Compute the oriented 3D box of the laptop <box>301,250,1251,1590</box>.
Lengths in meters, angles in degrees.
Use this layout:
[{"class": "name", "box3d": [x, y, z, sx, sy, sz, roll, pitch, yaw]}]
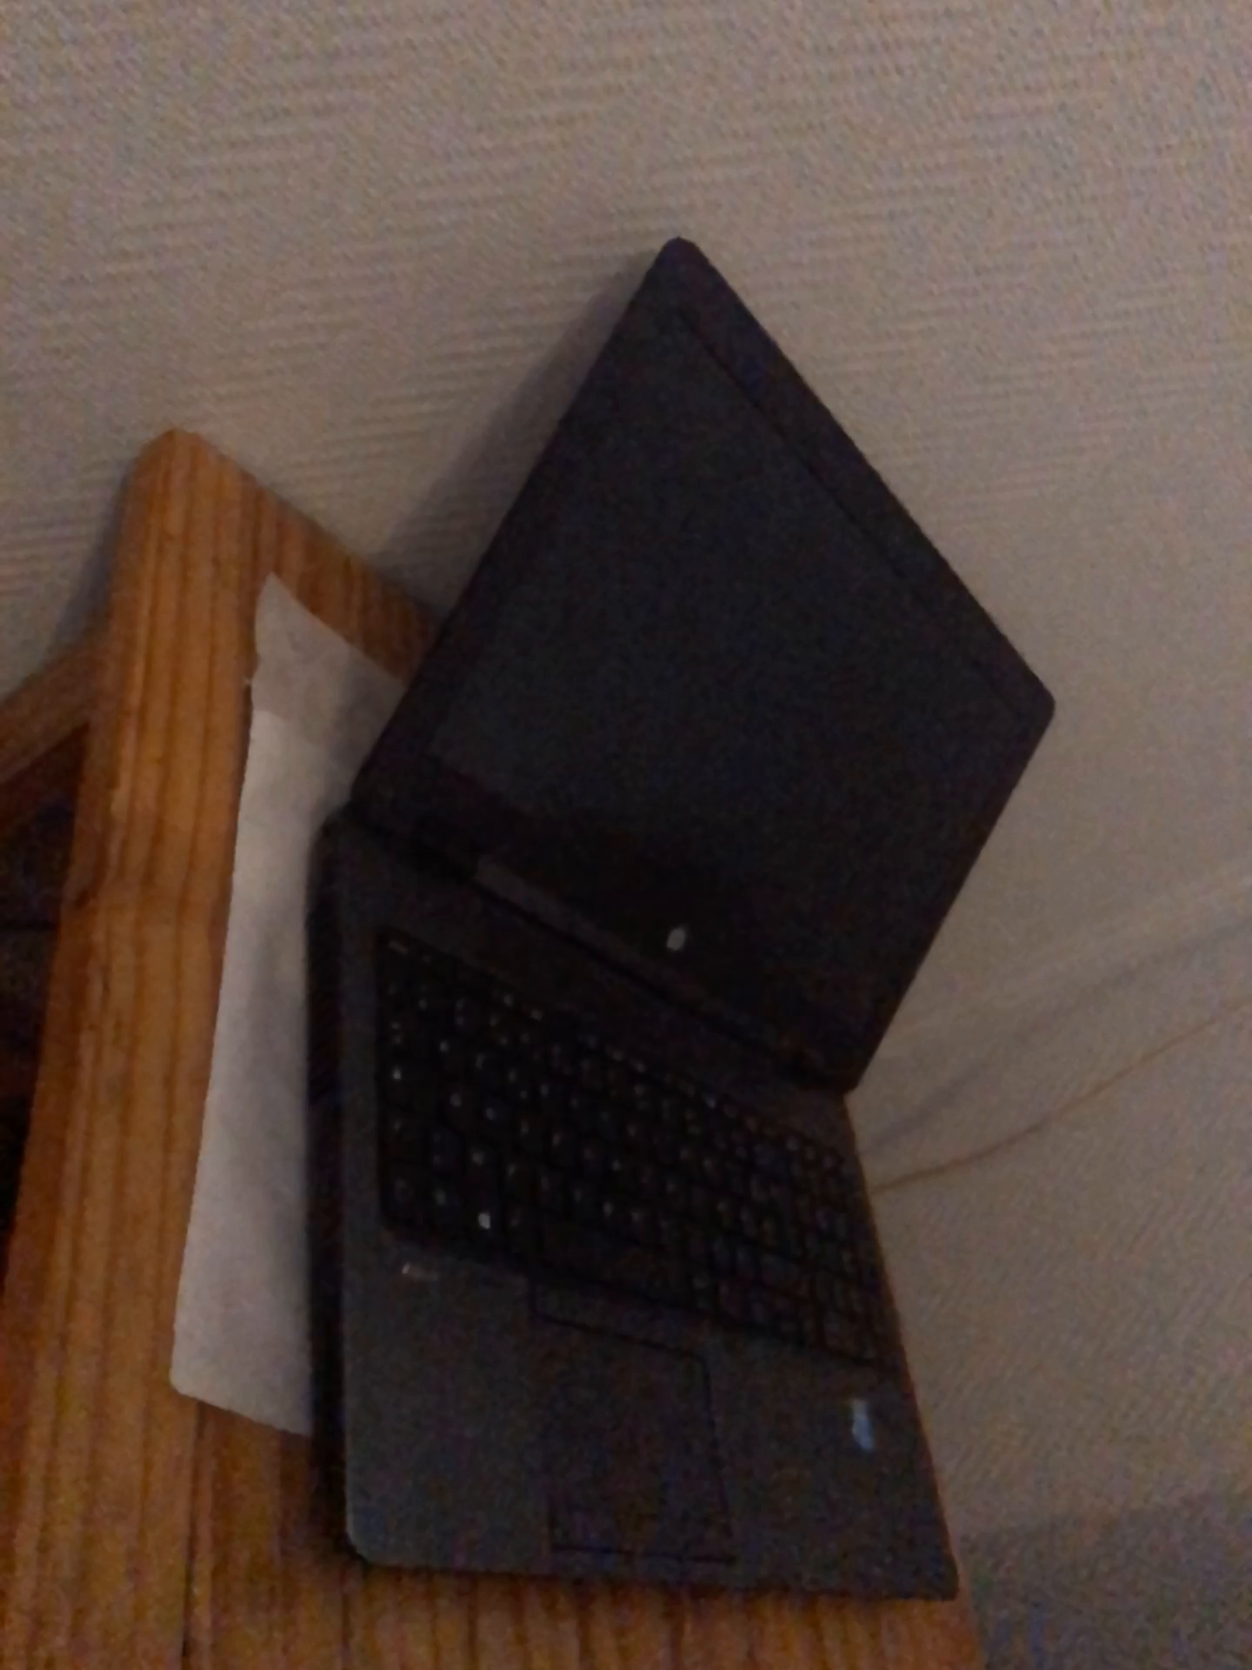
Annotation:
[{"class": "laptop", "box3d": [0.077, 0.061, 0.587, 0.383, 0.195, 0.410, 35, 34, -45]}]
